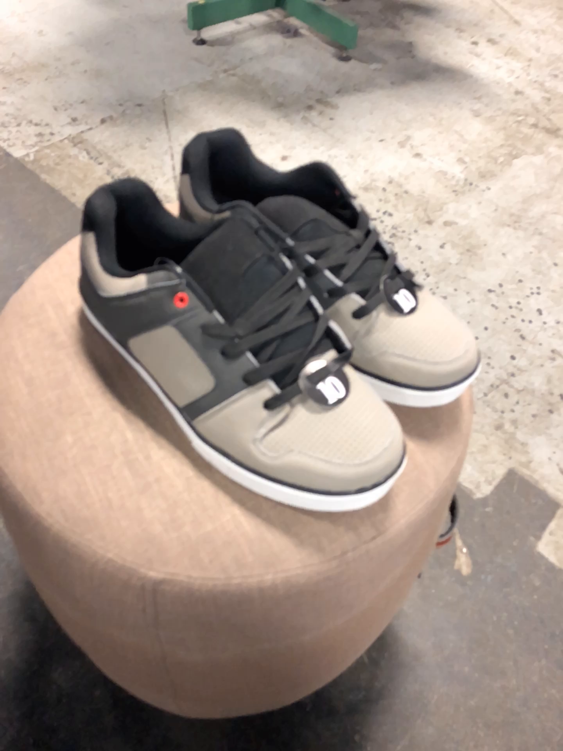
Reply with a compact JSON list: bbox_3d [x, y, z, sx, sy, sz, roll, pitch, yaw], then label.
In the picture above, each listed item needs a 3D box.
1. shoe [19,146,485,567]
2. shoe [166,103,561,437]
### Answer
[{"bbox_3d":[-0.031,-0.030,0.404,0.281,0.089,0.120,39,58,24],"label":"shoe"},{"bbox_3d":[0.046,-0.095,0.475,0.281,0.089,0.110,39,58,24],"label":"shoe"}]
